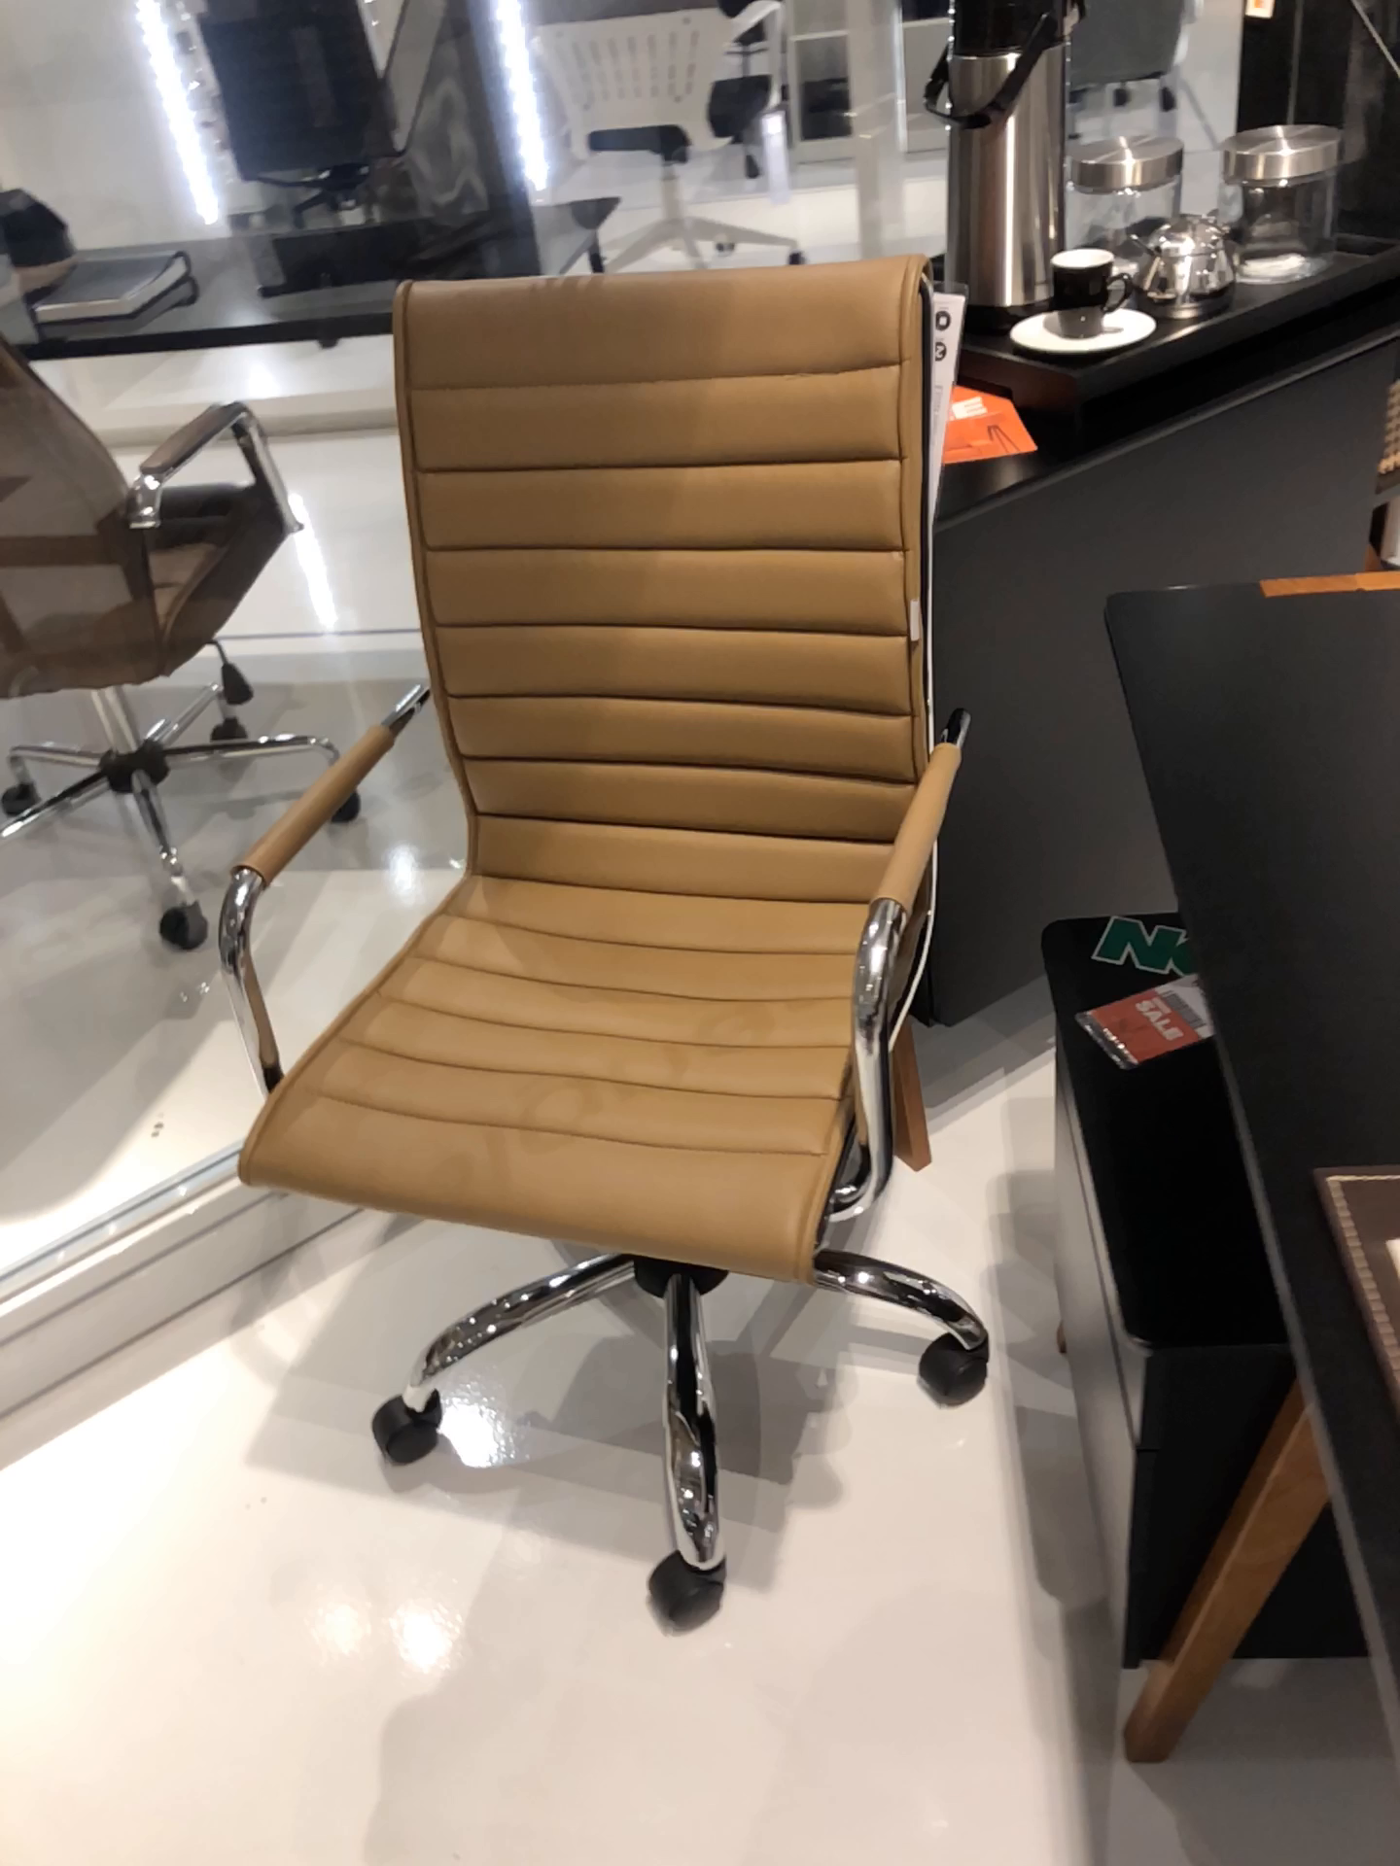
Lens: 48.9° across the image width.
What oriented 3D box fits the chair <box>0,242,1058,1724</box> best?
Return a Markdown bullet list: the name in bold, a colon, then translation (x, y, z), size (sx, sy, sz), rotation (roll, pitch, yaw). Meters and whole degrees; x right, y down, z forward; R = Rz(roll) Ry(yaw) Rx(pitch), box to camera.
- **chair**: translation (-0.066, 0.030, 1.261), size (0.601, 0.943, 0.614), rotation (6, 39, 20)
